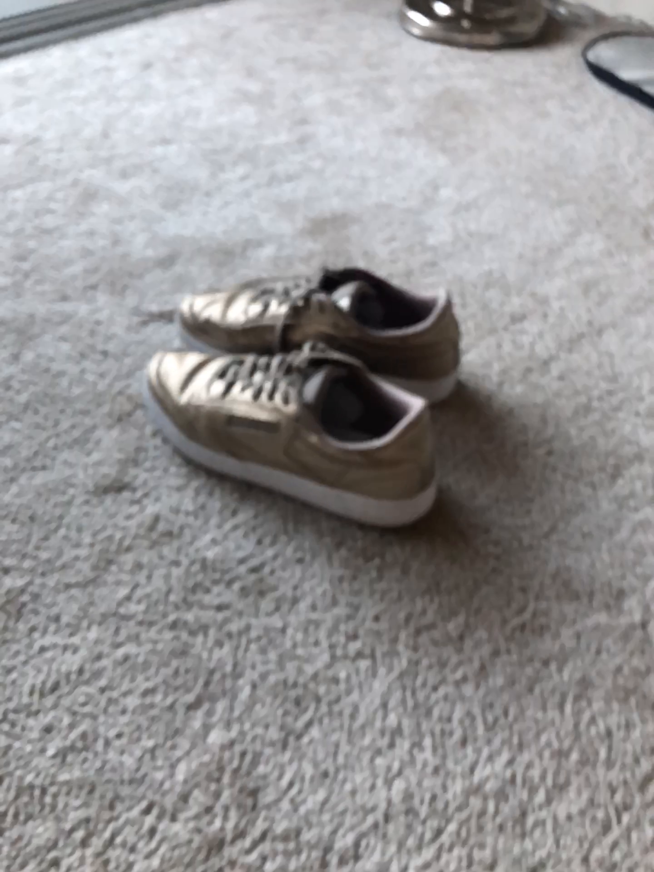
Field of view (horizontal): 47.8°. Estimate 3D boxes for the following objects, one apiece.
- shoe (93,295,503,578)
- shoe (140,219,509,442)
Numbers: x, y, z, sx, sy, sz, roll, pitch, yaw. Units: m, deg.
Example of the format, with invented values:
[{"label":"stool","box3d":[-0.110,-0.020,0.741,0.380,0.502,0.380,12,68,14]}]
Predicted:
[{"label":"shoe","box3d":[-0.025,-0.010,0.562,0.280,0.070,0.110,22,49,18]},{"label":"shoe","box3d":[-0.003,-0.096,0.627,0.280,0.070,0.110,18,48,15]}]
